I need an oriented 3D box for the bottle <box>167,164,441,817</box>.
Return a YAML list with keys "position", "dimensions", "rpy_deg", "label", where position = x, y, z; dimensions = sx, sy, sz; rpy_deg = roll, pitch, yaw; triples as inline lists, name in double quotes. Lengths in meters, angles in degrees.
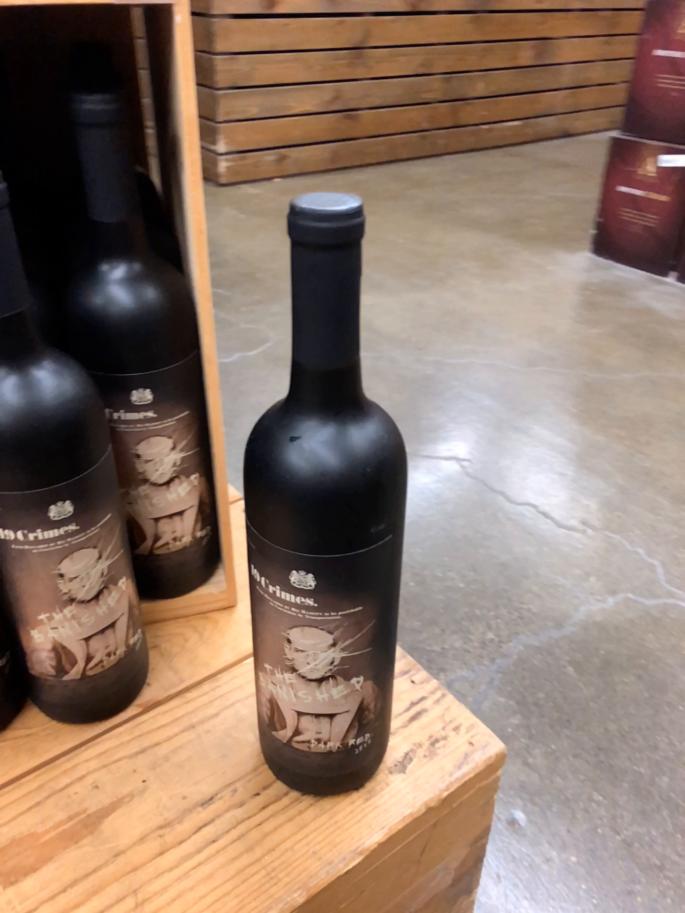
- position: [-0.011, 0.033, 0.348]
  dimensions: [0.080, 0.299, 0.080]
  rpy_deg: [1, 32, -1]
  label: "bottle"
